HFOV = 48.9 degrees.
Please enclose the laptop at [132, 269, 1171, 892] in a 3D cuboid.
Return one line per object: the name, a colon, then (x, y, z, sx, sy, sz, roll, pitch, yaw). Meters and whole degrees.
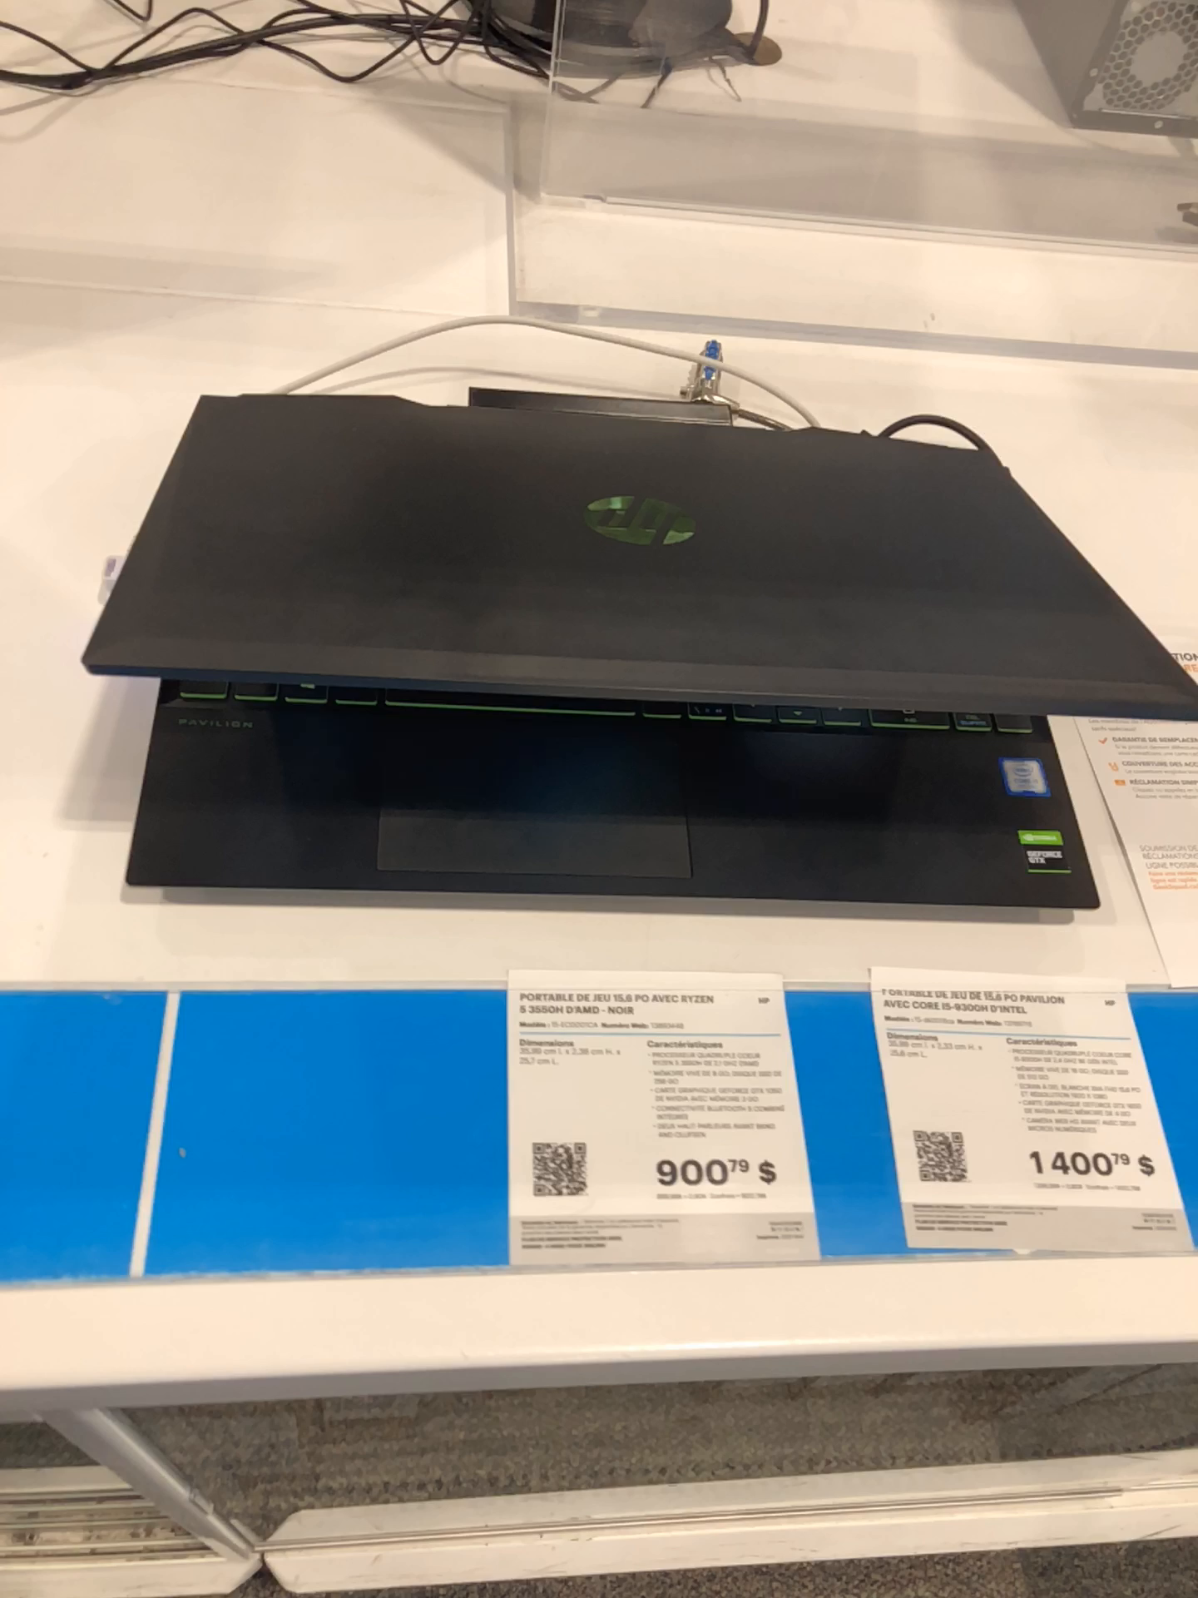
laptop: (0.019, -0.083, 0.501, 0.339, 0.064, 0.221, 1, 61, -8)
